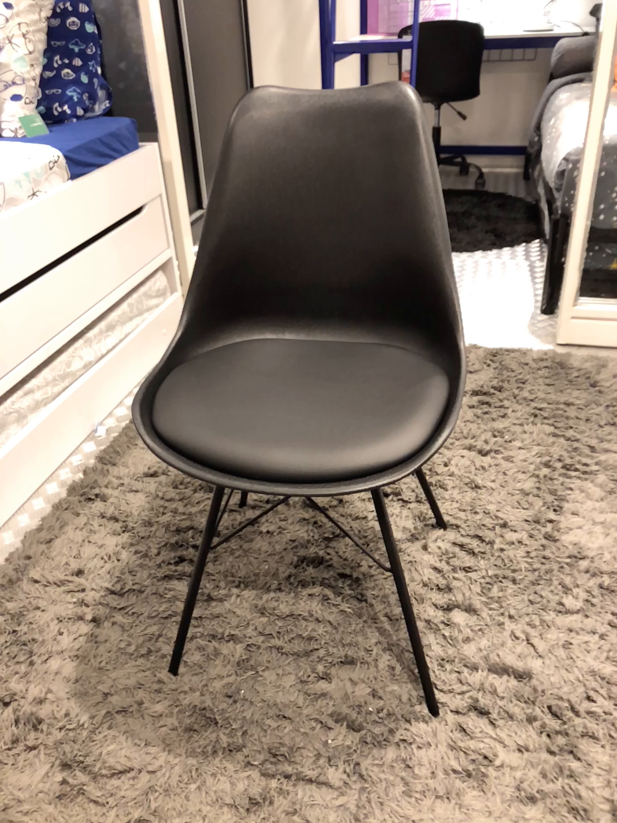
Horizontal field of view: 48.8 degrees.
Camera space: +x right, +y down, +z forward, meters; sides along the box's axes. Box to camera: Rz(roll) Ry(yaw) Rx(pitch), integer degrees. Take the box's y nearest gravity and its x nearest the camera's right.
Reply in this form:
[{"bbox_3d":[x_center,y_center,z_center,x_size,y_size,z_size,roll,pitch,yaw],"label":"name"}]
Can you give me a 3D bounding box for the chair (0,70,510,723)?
[{"bbox_3d":[0.004,-0.051,1.064,0.520,0.804,0.534,5,32,14],"label":"chair"}]
